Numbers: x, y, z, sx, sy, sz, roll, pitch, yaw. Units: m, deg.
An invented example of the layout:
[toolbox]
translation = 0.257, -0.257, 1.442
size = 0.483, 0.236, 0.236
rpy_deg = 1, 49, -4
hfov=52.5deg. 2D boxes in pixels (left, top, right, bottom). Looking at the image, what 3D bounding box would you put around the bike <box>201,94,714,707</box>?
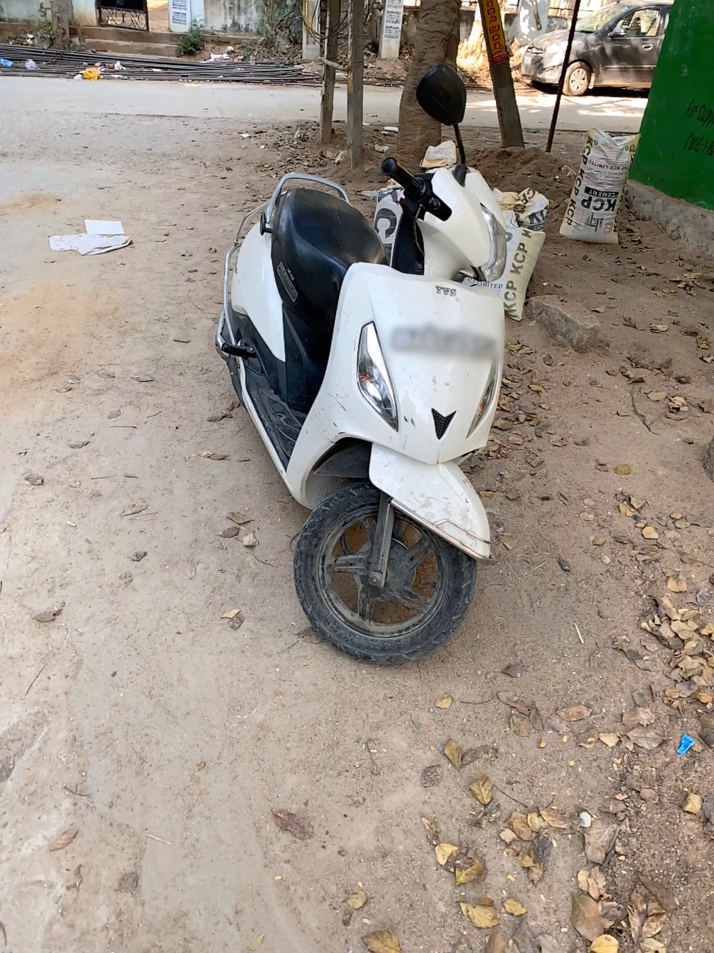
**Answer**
[bike]
translation = 0.109, -0.362, 2.090
size = 0.686, 1.066, 1.465
rpy_deg = -11, 38, -23
